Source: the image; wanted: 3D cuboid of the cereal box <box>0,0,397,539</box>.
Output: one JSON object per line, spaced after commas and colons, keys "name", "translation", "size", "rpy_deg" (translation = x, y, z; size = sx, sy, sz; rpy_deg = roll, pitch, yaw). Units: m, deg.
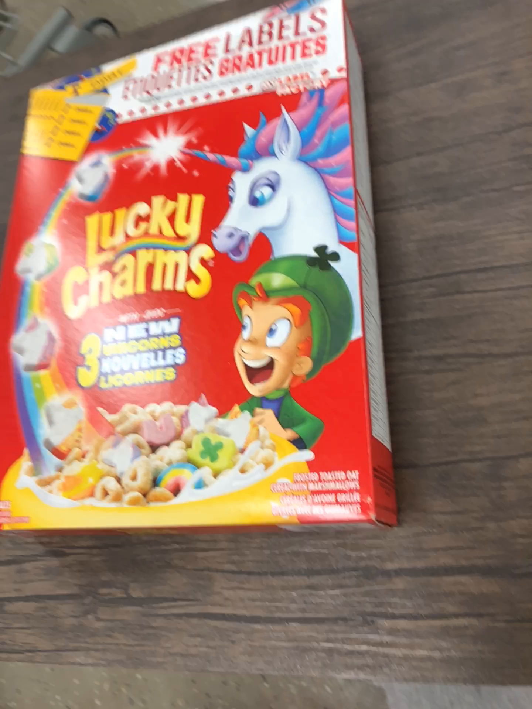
{"name": "cereal box", "translation": [-0.051, -0.059, 0.377], "size": [0.230, 0.080, 0.330], "rpy_deg": [-7, 68, 20]}
